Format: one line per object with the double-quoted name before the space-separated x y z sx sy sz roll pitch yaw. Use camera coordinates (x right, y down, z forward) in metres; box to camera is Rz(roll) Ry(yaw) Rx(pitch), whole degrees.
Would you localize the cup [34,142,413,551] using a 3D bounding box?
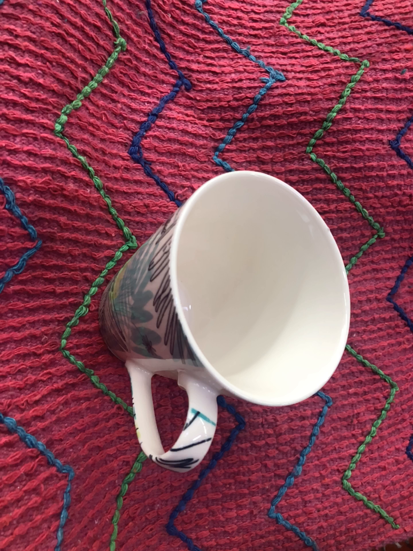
"cup" 0.008 0.029 0.186 0.090 0.080 0.110 35 71 -24
